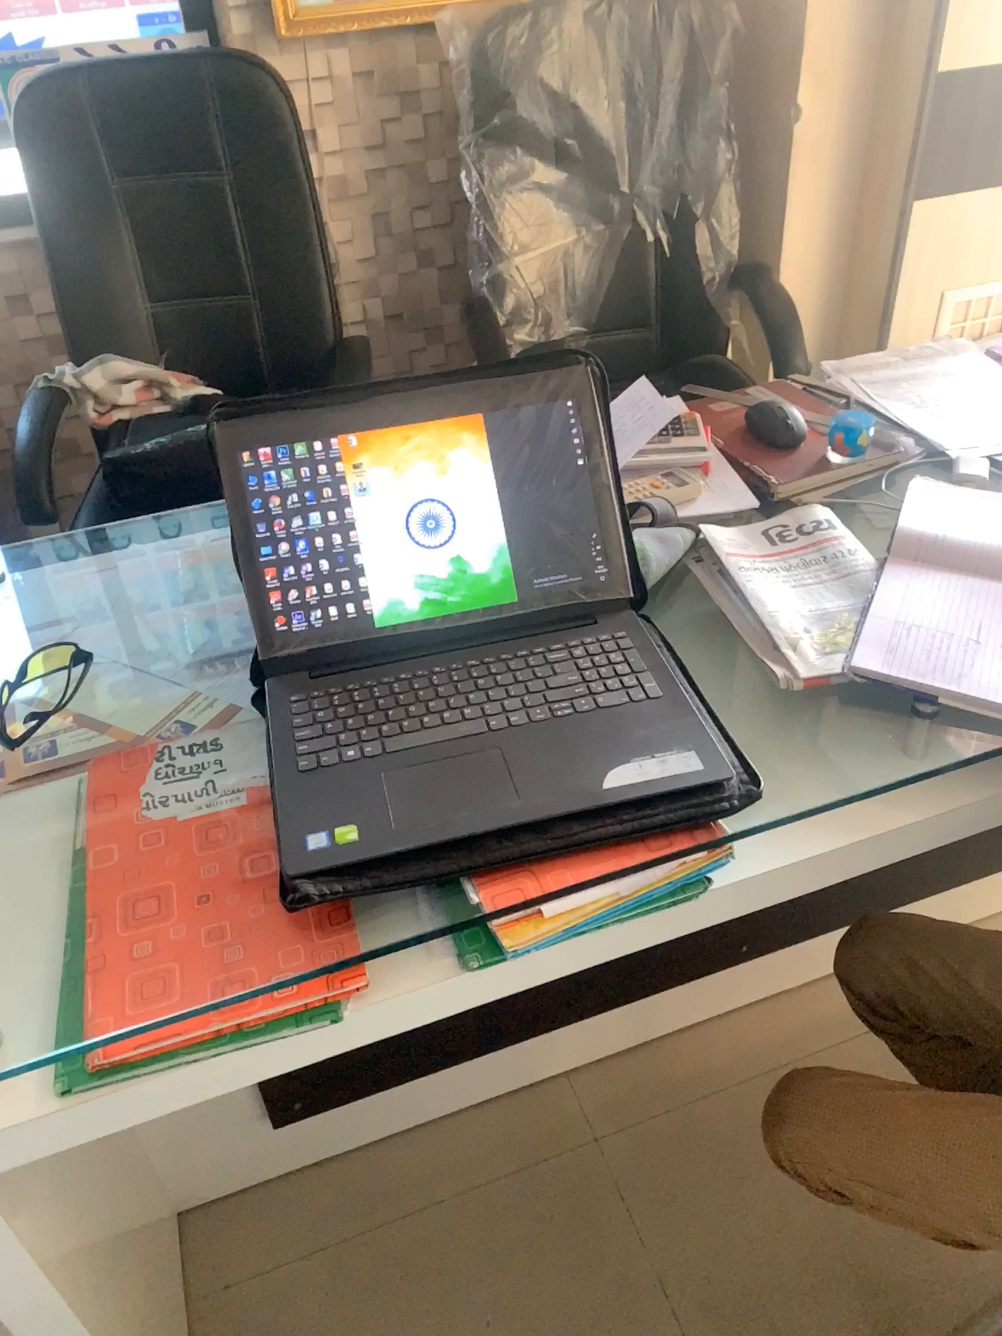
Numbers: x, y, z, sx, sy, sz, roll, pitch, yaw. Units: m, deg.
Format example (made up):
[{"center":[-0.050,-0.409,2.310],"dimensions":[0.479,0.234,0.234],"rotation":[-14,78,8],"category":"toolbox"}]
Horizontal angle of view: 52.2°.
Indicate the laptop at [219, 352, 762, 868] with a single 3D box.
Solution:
[{"center":[-0.038,-0.077,0.829],"dimensions":[0.334,0.175,0.392],"rotation":[-11,39,-8],"category":"laptop"}]
